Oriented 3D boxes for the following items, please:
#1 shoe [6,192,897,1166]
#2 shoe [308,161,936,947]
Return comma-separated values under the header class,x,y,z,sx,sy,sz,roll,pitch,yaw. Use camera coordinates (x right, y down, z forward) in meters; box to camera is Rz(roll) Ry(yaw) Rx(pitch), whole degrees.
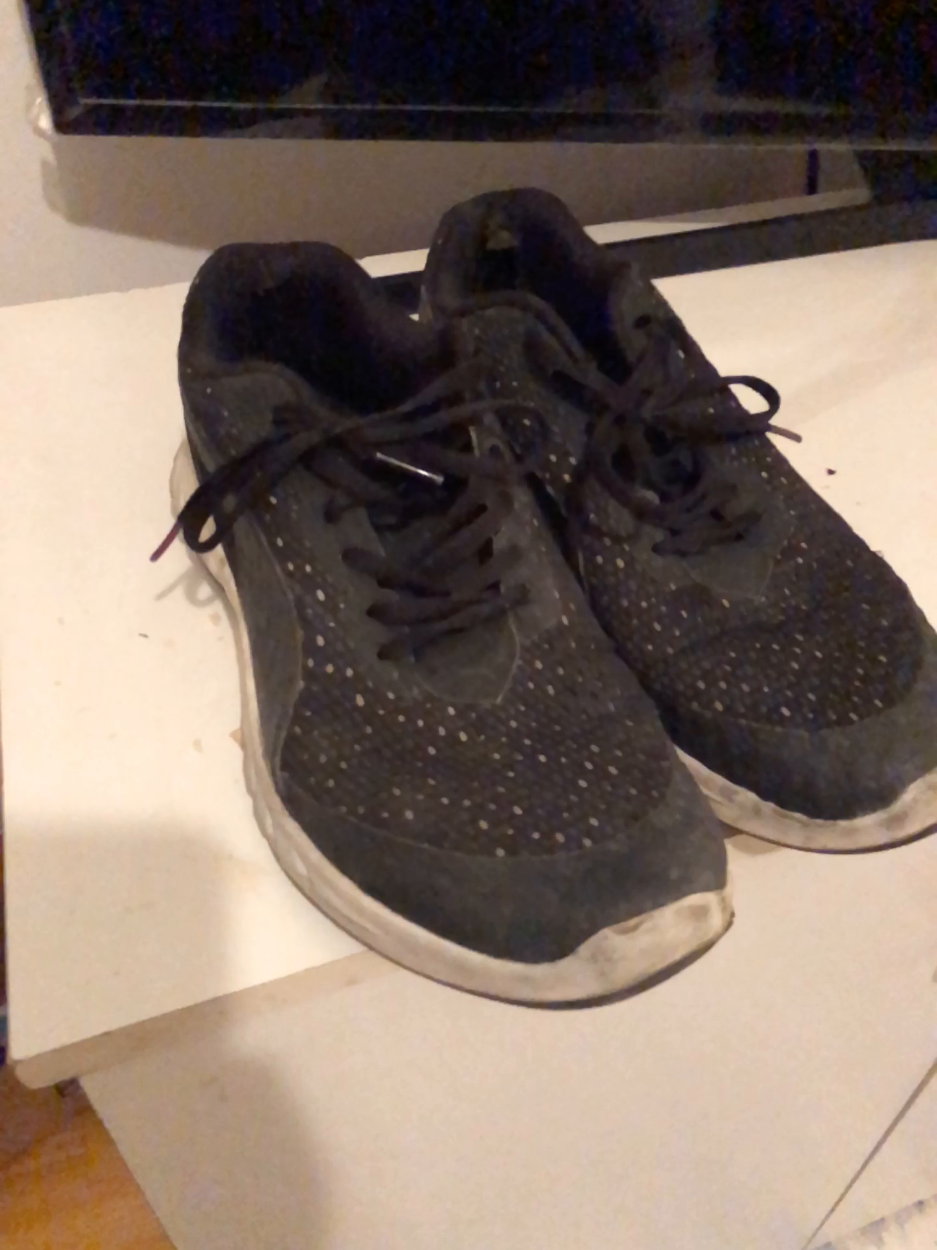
class,x,y,z,sx,sy,sz,roll,pitch,yaw
shoe,-0.039,-0.024,0.326,0.120,0.099,0.310,-20,47,-21
shoe,0.062,-0.059,0.377,0.120,0.099,0.310,-20,47,-21
